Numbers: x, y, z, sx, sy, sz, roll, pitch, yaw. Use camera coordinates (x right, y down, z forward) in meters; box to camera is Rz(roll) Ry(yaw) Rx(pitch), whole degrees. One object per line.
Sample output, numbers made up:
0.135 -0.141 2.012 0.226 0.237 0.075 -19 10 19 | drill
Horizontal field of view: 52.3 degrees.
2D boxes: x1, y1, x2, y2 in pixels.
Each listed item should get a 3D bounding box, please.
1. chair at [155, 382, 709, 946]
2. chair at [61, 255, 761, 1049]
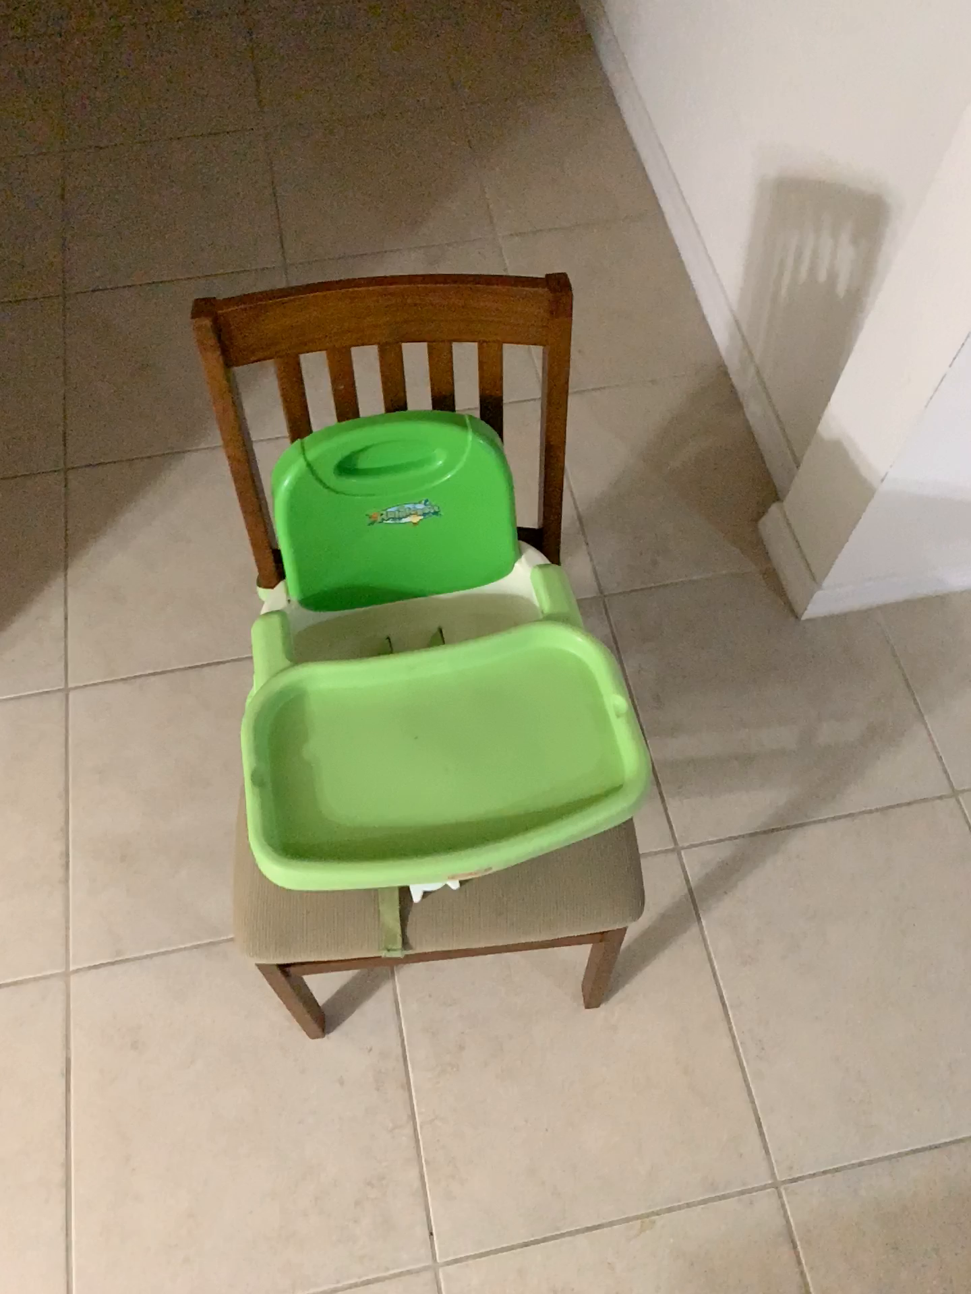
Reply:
-0.065 0.028 0.951 0.404 0.329 0.387 -8 62 -4 | chair
-0.074 0.107 1.164 0.454 0.885 0.558 -5 62 -3 | chair
